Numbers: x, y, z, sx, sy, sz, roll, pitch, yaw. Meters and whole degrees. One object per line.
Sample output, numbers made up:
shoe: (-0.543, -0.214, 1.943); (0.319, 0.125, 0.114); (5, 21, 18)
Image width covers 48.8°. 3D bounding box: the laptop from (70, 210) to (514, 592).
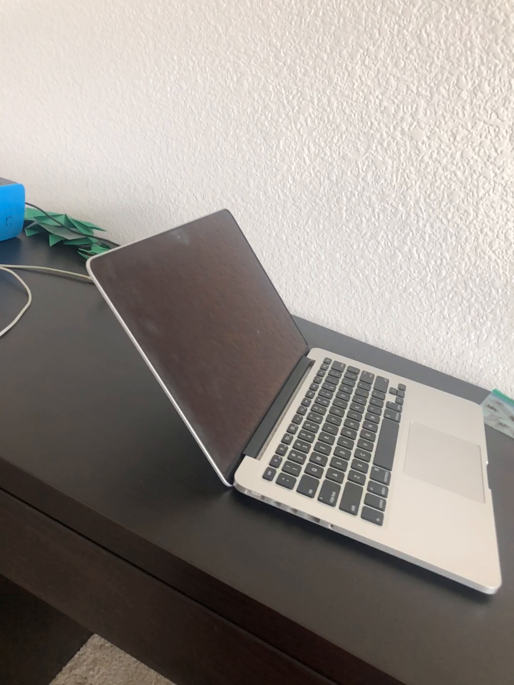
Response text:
laptop: (0.068, 0.007, 0.558); (0.362, 0.133, 0.310); (20, 25, 12)
